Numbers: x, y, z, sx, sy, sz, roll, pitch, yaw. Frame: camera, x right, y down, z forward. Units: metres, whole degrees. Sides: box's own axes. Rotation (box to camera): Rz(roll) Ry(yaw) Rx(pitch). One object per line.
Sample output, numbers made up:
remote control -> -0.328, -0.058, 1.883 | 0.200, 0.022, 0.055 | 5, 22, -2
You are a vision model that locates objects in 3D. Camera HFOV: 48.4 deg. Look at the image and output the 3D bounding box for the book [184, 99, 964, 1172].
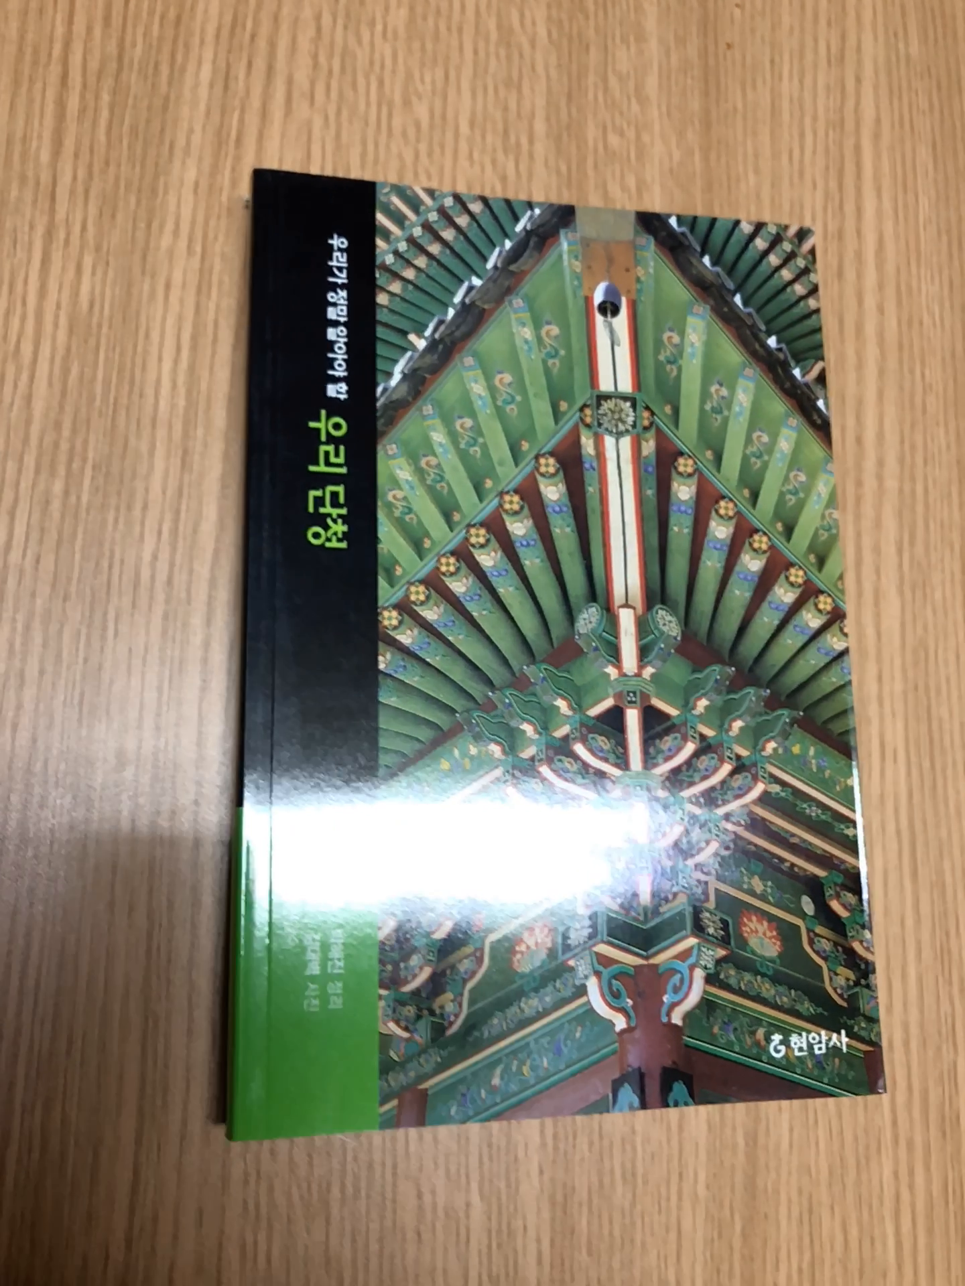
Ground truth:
book -> 0.020, -0.007, 0.239 | 0.160, 0.030, 0.210 | 1, 80, -13
